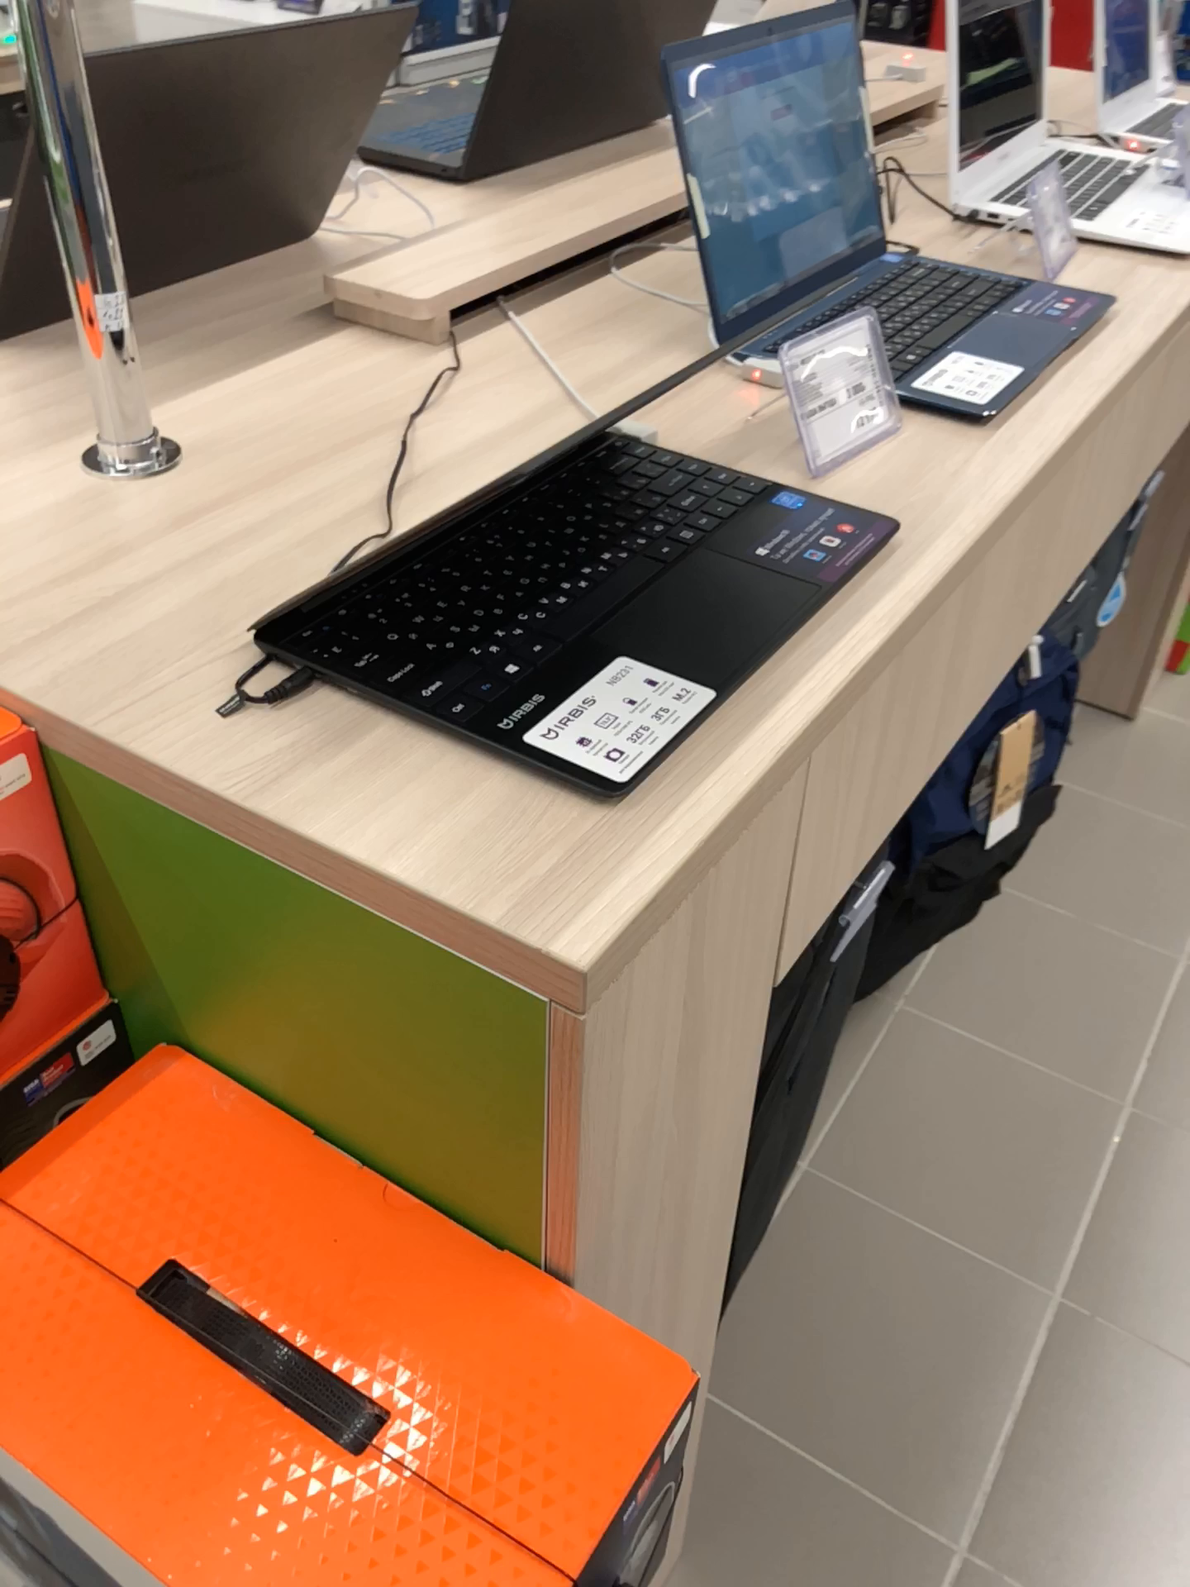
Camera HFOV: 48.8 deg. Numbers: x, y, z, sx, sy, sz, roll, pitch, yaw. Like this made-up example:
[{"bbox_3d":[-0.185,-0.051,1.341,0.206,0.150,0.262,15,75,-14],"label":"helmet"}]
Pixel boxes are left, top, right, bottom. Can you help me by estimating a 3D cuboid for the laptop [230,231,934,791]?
[{"bbox_3d":[0.007,-0.165,0.664,0.203,0.132,0.300,23,42,24],"label":"laptop"}]
